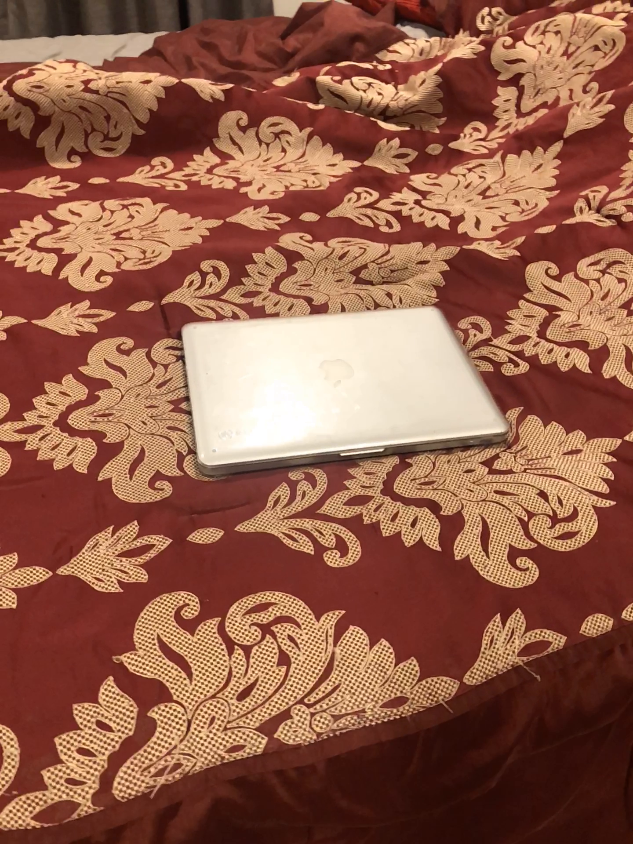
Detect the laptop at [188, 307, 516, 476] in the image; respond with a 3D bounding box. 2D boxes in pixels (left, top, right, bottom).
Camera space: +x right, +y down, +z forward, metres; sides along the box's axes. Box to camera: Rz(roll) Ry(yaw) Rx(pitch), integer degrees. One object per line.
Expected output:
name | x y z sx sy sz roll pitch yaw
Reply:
laptop | 0.027 -0.044 0.741 0.304 0.015 0.208 -6 46 -11
